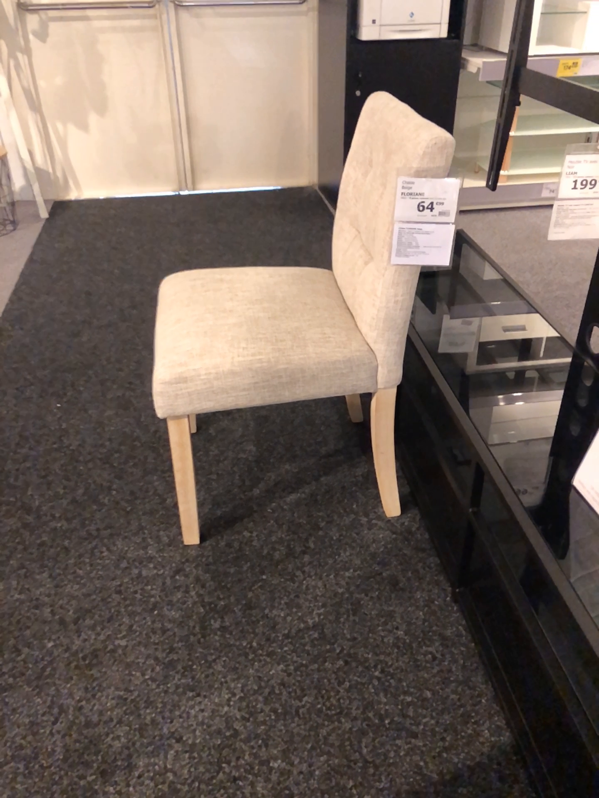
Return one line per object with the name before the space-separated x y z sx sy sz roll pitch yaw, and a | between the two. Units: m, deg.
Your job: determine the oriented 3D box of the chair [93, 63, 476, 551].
chair | -0.042 -0.208 1.421 0.560 0.855 0.553 -4 33 -6
